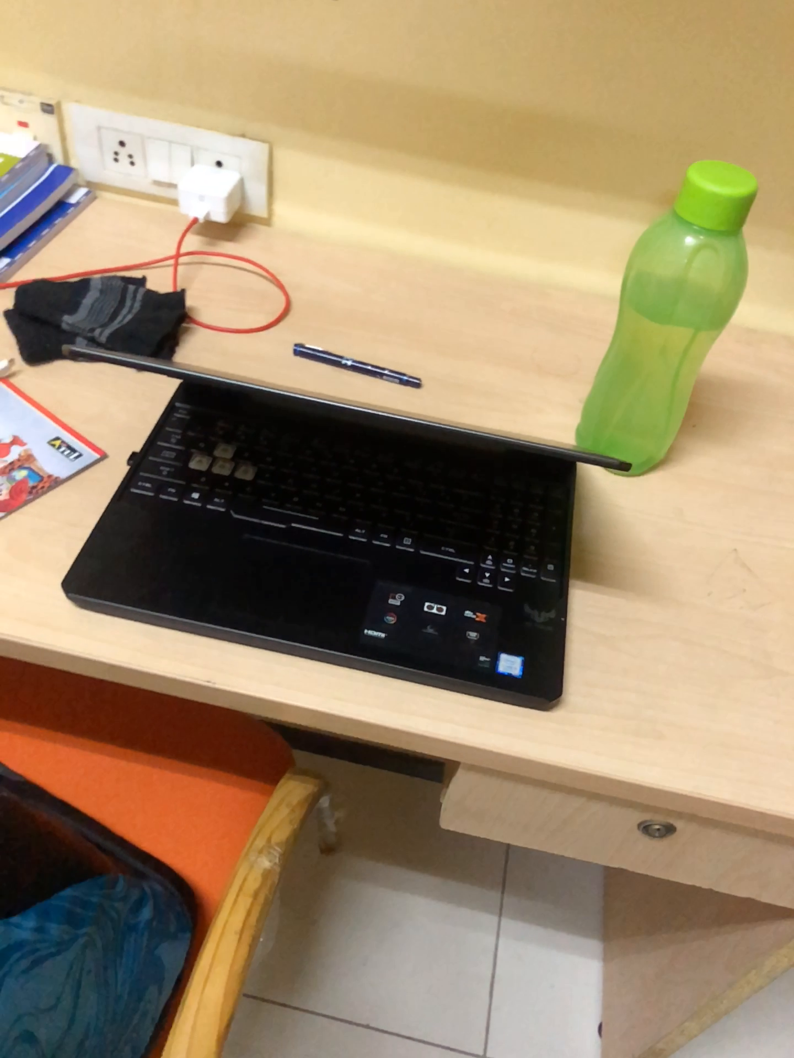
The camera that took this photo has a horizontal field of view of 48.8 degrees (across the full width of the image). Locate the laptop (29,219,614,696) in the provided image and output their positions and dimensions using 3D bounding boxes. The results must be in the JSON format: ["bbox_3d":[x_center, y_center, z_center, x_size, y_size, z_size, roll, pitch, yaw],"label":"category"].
[{"bbox_3d":[-0.035,-0.062,0.633,0.339,0.147,0.249,11,49,3],"label":"laptop"}]
